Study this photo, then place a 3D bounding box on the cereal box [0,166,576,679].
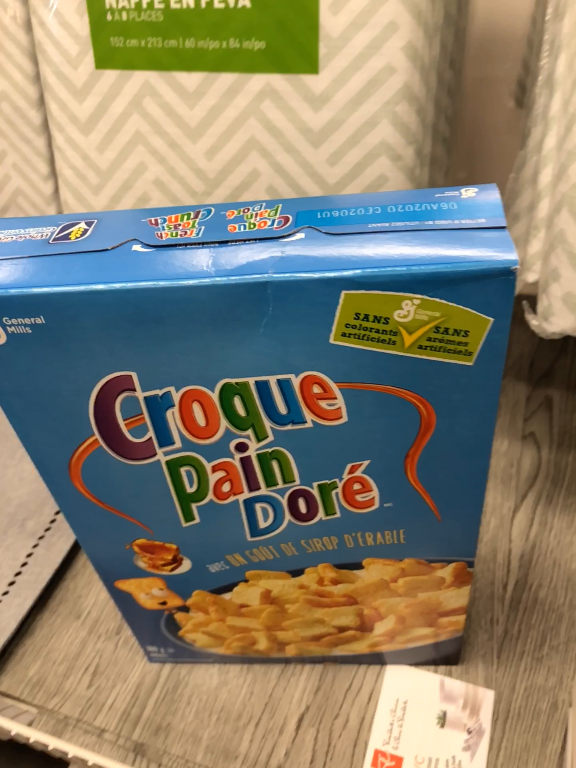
[{"bbox_3d":[-0.002,0.051,0.305,0.210,0.279,0.050,-2,42,7],"label":"cereal box"}]
